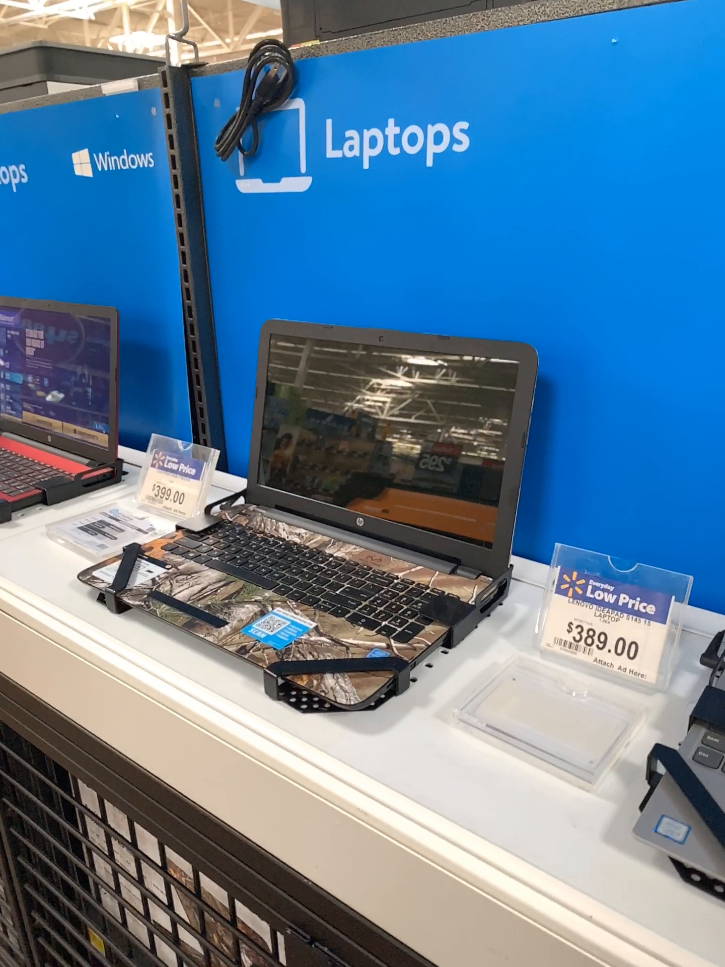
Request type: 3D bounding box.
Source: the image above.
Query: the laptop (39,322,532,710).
[{"bbox_3d":[-0.070,-0.016,0.751,0.375,0.227,0.303,14,25,36],"label":"laptop"}]
